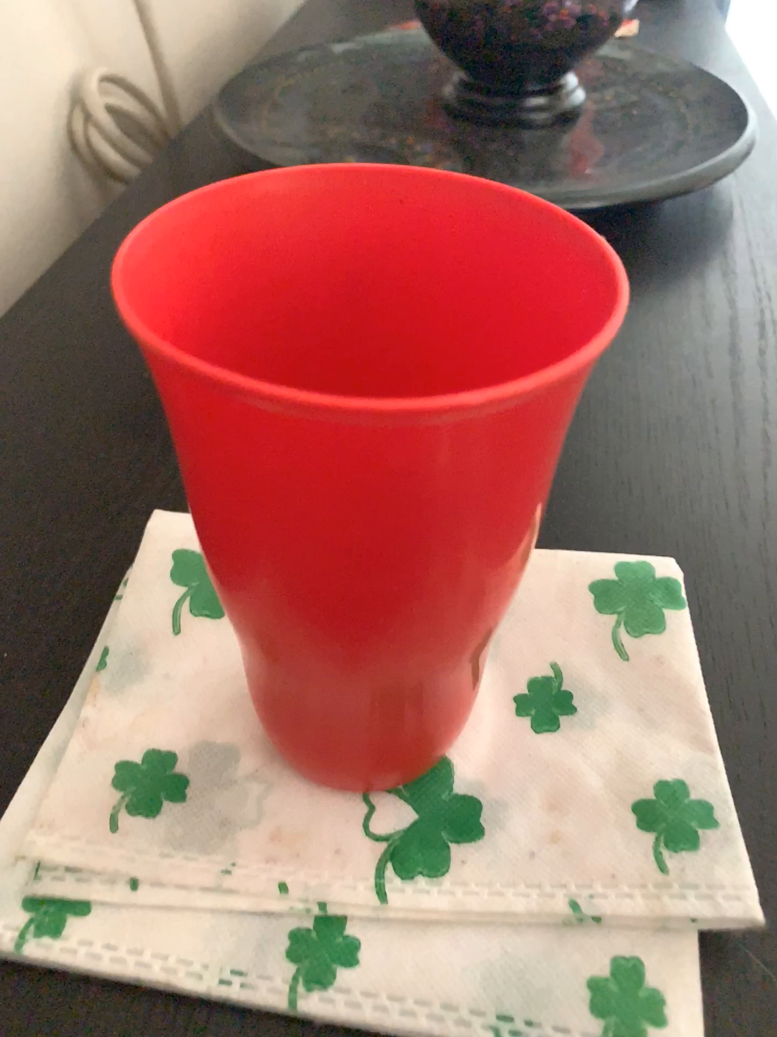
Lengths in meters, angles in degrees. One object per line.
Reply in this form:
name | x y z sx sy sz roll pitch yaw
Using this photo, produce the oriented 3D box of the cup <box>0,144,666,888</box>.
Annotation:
cup | -0.006 -0.005 0.151 0.082 0.091 0.080 0 42 0
